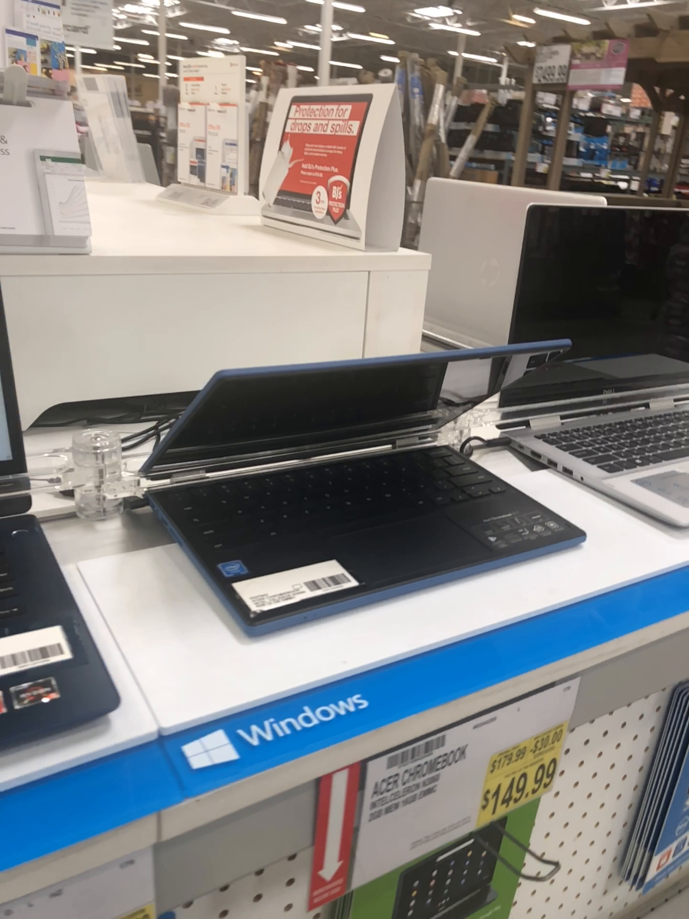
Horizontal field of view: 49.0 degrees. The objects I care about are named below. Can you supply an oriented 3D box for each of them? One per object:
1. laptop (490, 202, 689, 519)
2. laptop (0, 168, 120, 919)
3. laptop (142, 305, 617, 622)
[{"bbox_3d":[0.339,-0.116,0.730,0.296,0.211,0.222,-8,27,-29],"label":"laptop"},{"bbox_3d":[-0.324,-0.012,0.362,0.325,0.196,0.320,-9,26,-32],"label":"laptop"},{"bbox_3d":[0.021,-0.022,0.553,0.280,0.128,0.187,-9,27,-32],"label":"laptop"}]
